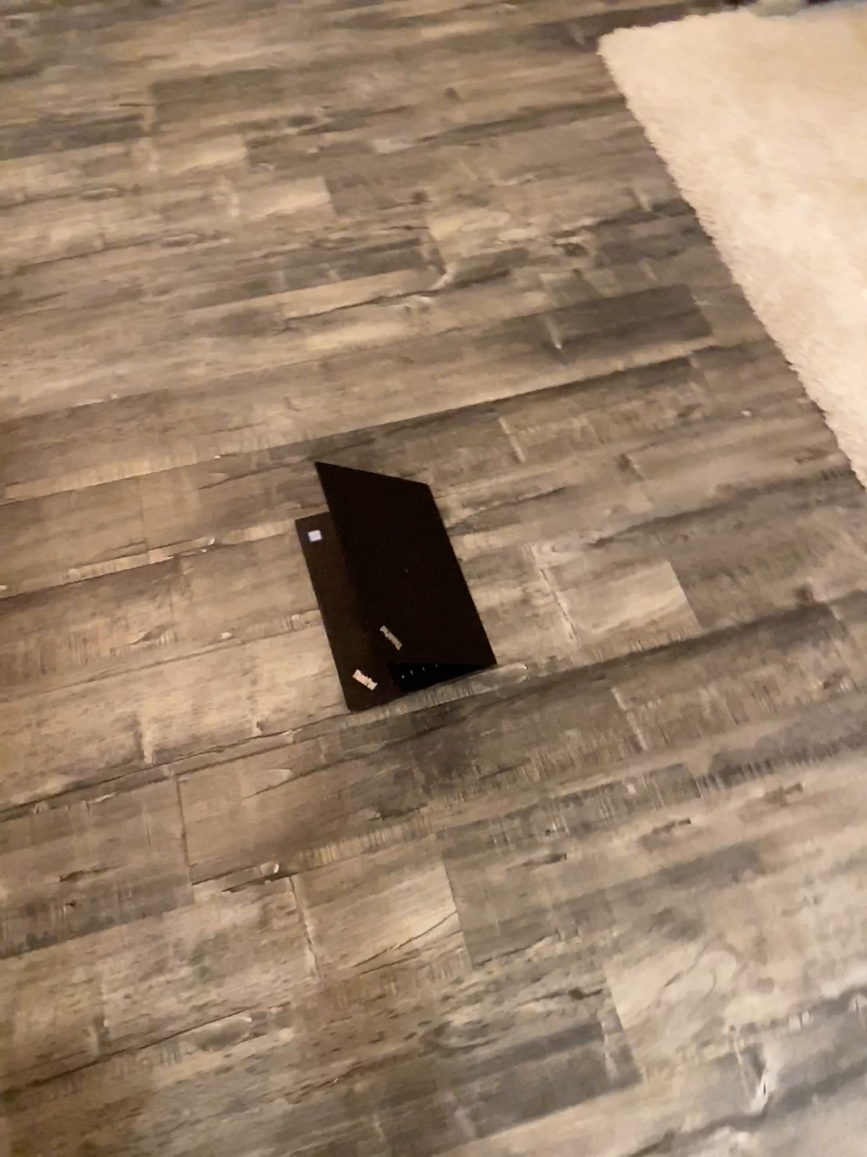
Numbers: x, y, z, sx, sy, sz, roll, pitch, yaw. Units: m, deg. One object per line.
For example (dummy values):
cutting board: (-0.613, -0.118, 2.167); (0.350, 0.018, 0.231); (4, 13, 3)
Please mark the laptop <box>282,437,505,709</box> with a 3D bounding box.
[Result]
laptop: (-0.061, -0.013, 1.232); (0.218, 0.124, 0.315); (-15, 62, -9)
